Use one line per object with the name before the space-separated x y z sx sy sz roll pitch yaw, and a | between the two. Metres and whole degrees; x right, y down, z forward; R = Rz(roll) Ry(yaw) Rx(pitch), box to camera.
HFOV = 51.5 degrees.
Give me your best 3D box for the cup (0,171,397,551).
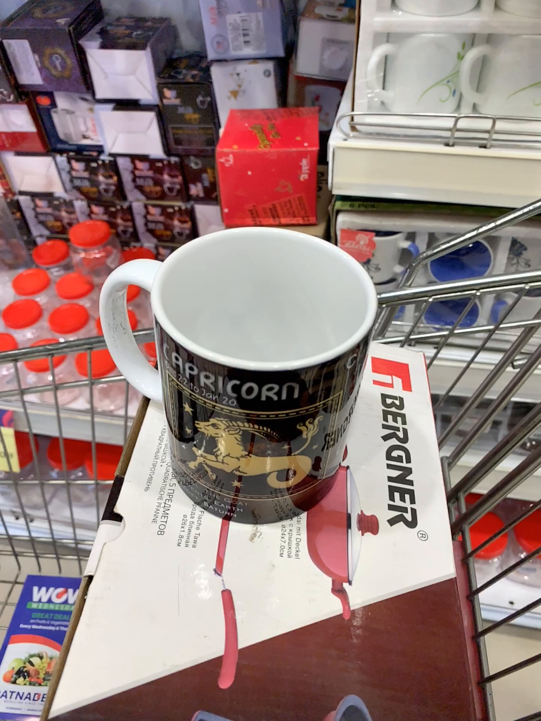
cup | -0.026 -0.002 0.217 0.120 0.090 0.080 15 48 12
